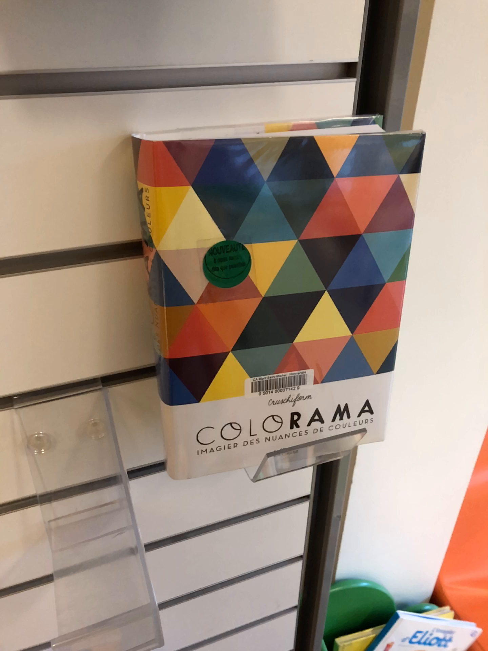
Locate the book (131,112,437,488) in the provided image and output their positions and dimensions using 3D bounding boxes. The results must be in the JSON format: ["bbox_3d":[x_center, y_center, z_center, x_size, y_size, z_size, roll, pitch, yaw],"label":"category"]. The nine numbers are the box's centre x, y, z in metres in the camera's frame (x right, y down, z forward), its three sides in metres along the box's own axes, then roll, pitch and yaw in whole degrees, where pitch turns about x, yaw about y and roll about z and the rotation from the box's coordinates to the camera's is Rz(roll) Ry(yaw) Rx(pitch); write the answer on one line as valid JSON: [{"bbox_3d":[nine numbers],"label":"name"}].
[{"bbox_3d":[0.025,-0.014,0.361,0.170,0.231,0.046,-8,26,-14],"label":"book"}]
